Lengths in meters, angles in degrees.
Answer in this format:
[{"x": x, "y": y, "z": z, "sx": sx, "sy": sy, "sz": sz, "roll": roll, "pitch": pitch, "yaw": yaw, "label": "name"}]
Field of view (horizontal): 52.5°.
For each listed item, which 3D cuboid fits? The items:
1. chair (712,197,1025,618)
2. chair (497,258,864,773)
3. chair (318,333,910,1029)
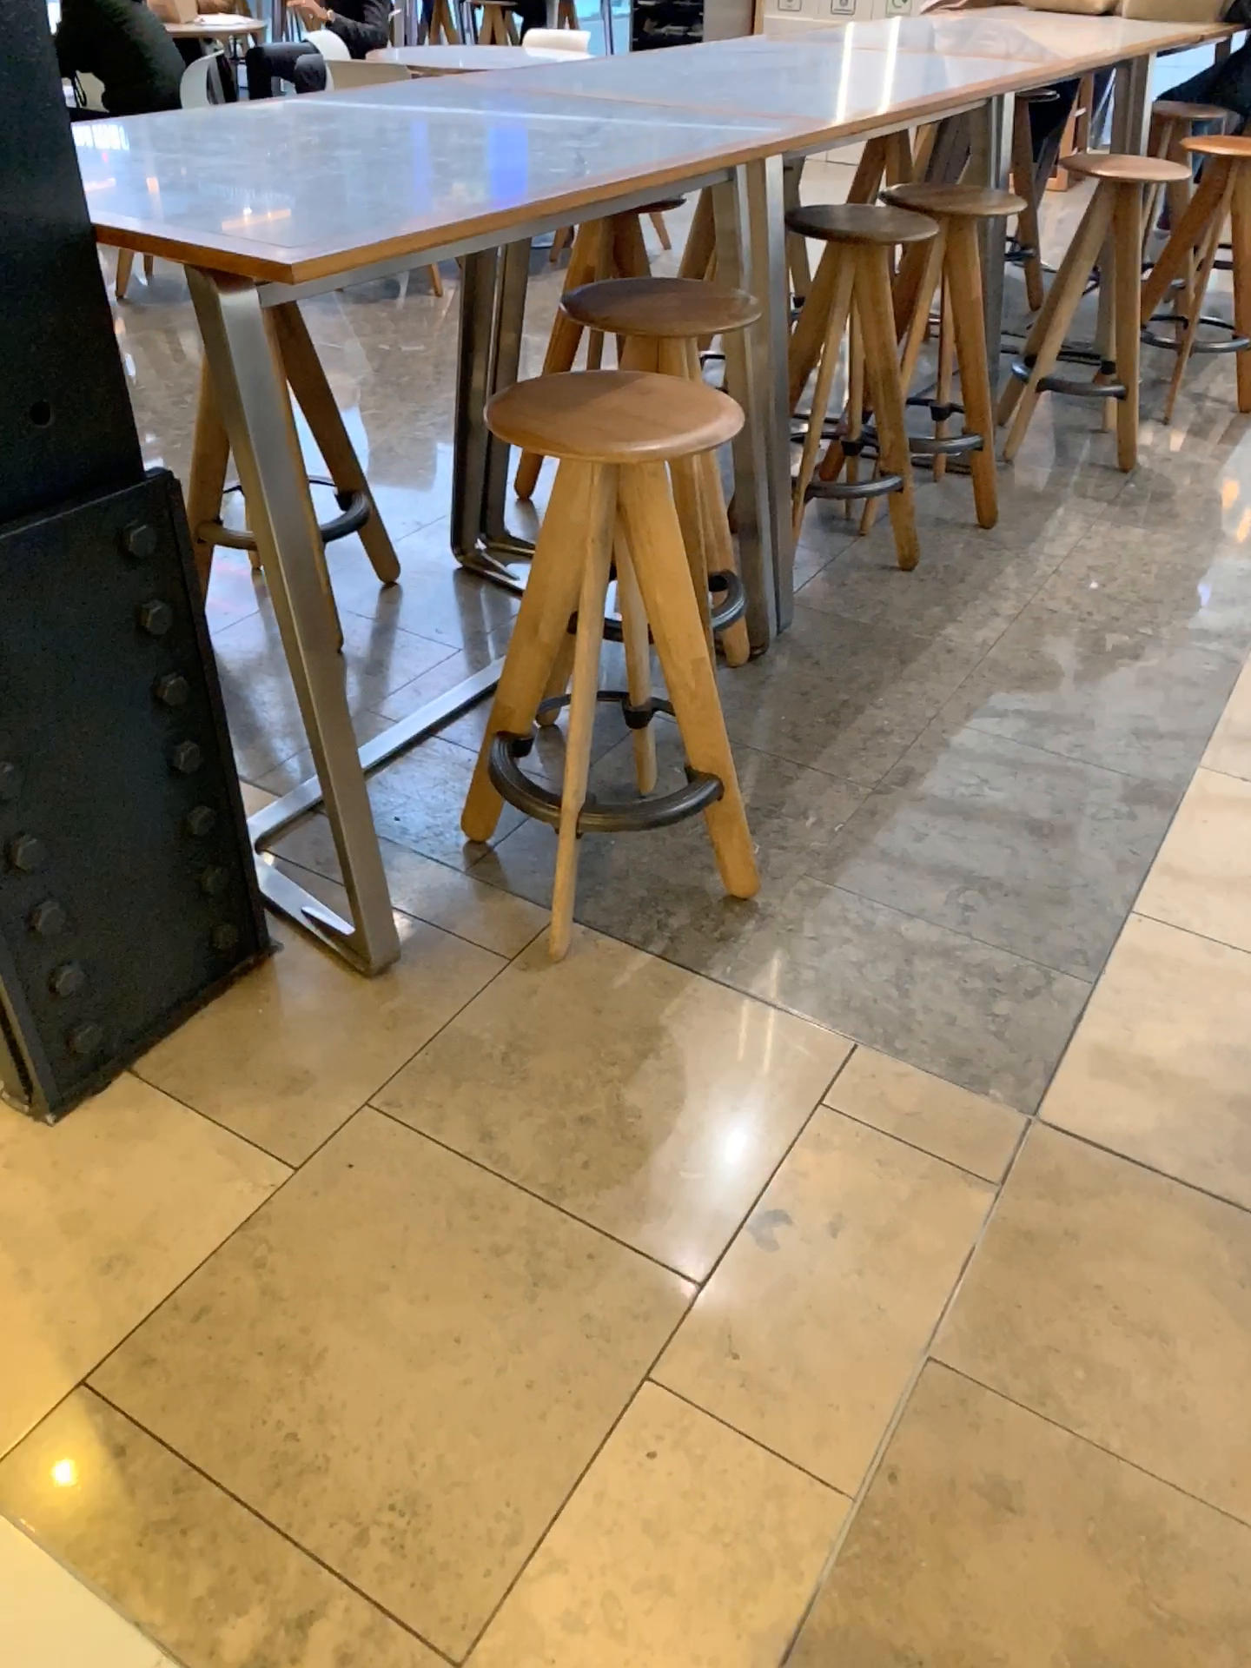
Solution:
[{"x": 0.513, "y": -0.936, "z": 2.764, "sx": 0.434, "sy": 0.705, "sz": 0.476, "roll": 21, "pitch": 40, "yaw": 24, "label": "chair"}, {"x": 0.092, "y": -0.577, "z": 2.266, "sx": 0.424, "sy": 0.705, "sz": 0.466, "roll": 21, "pitch": 40, "yaw": 24, "label": "chair"}, {"x": -0.006, "y": -0.245, "z": 1.817, "sx": 0.554, "sy": 0.705, "sz": 0.537, "roll": 21, "pitch": 40, "yaw": 24, "label": "chair"}]
